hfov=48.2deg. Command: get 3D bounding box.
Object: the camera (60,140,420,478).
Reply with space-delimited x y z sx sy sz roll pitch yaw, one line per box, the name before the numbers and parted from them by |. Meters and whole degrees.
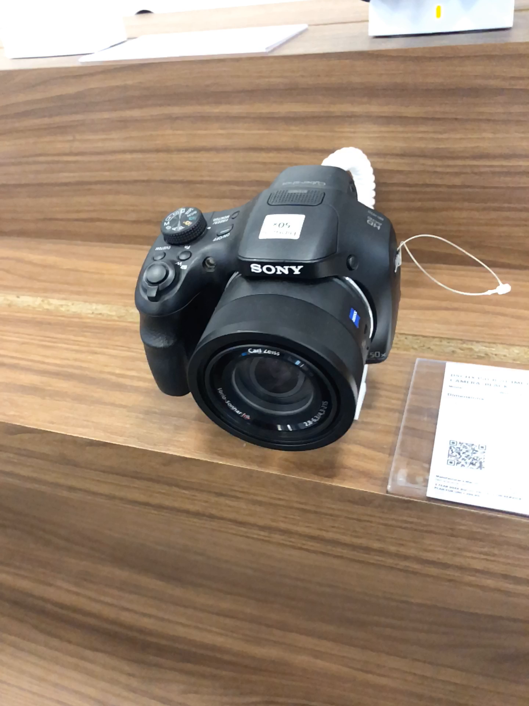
camera | 0.004 -0.033 0.305 0.130 0.100 0.141 6 41 18
